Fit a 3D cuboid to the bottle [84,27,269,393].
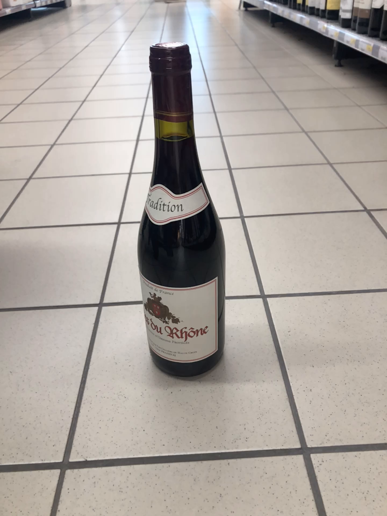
[{"bbox_3d":[-0.004,-0.031,0.369,0.090,0.288,0.091,-2,33,1],"label":"bottle"}]
